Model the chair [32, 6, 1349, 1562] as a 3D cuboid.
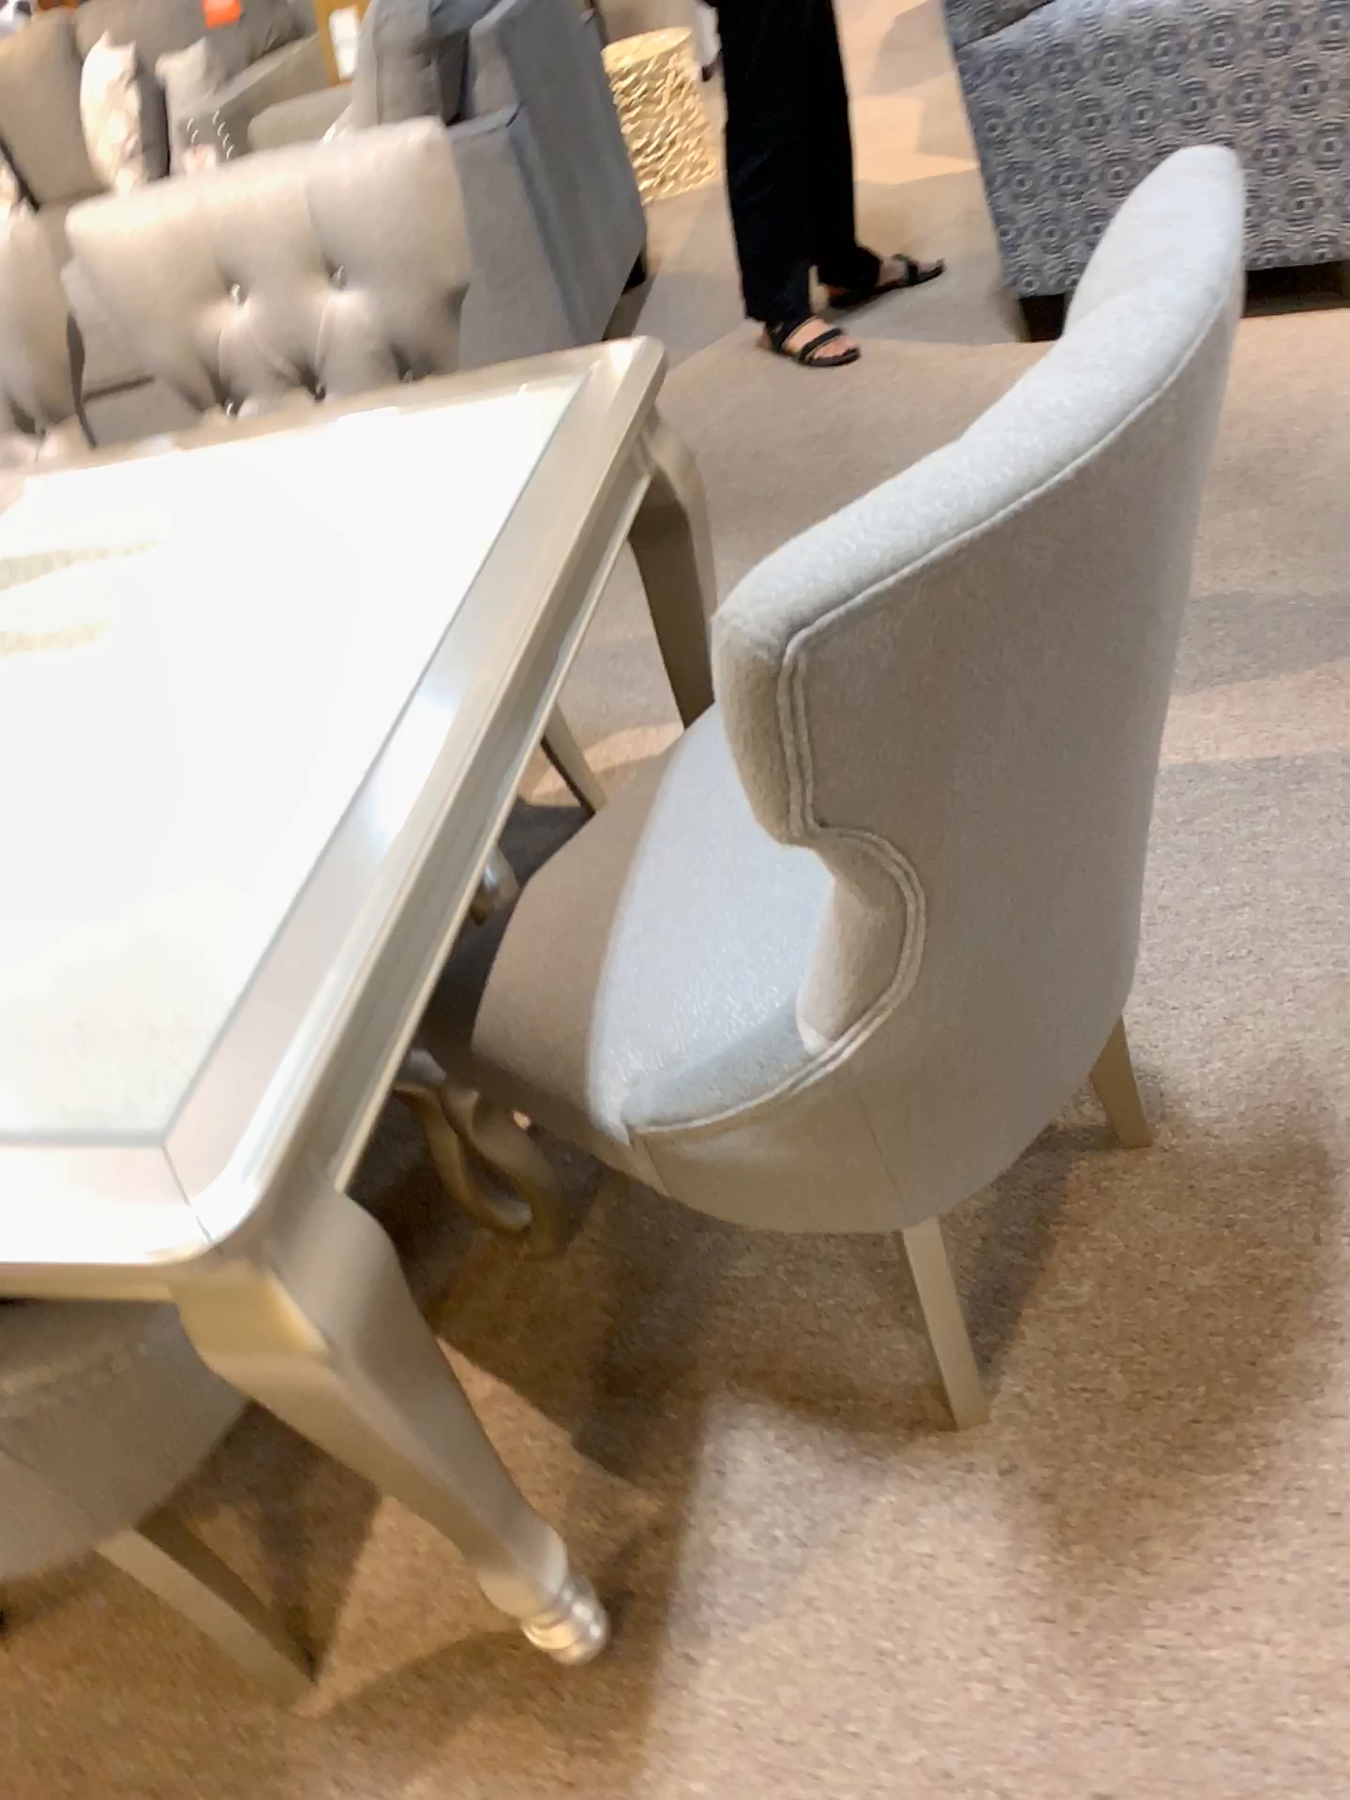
[{"bbox_3d":[0.126,-0.080,1.130,0.682,0.915,0.581,18,52,36],"label":"chair"}]
